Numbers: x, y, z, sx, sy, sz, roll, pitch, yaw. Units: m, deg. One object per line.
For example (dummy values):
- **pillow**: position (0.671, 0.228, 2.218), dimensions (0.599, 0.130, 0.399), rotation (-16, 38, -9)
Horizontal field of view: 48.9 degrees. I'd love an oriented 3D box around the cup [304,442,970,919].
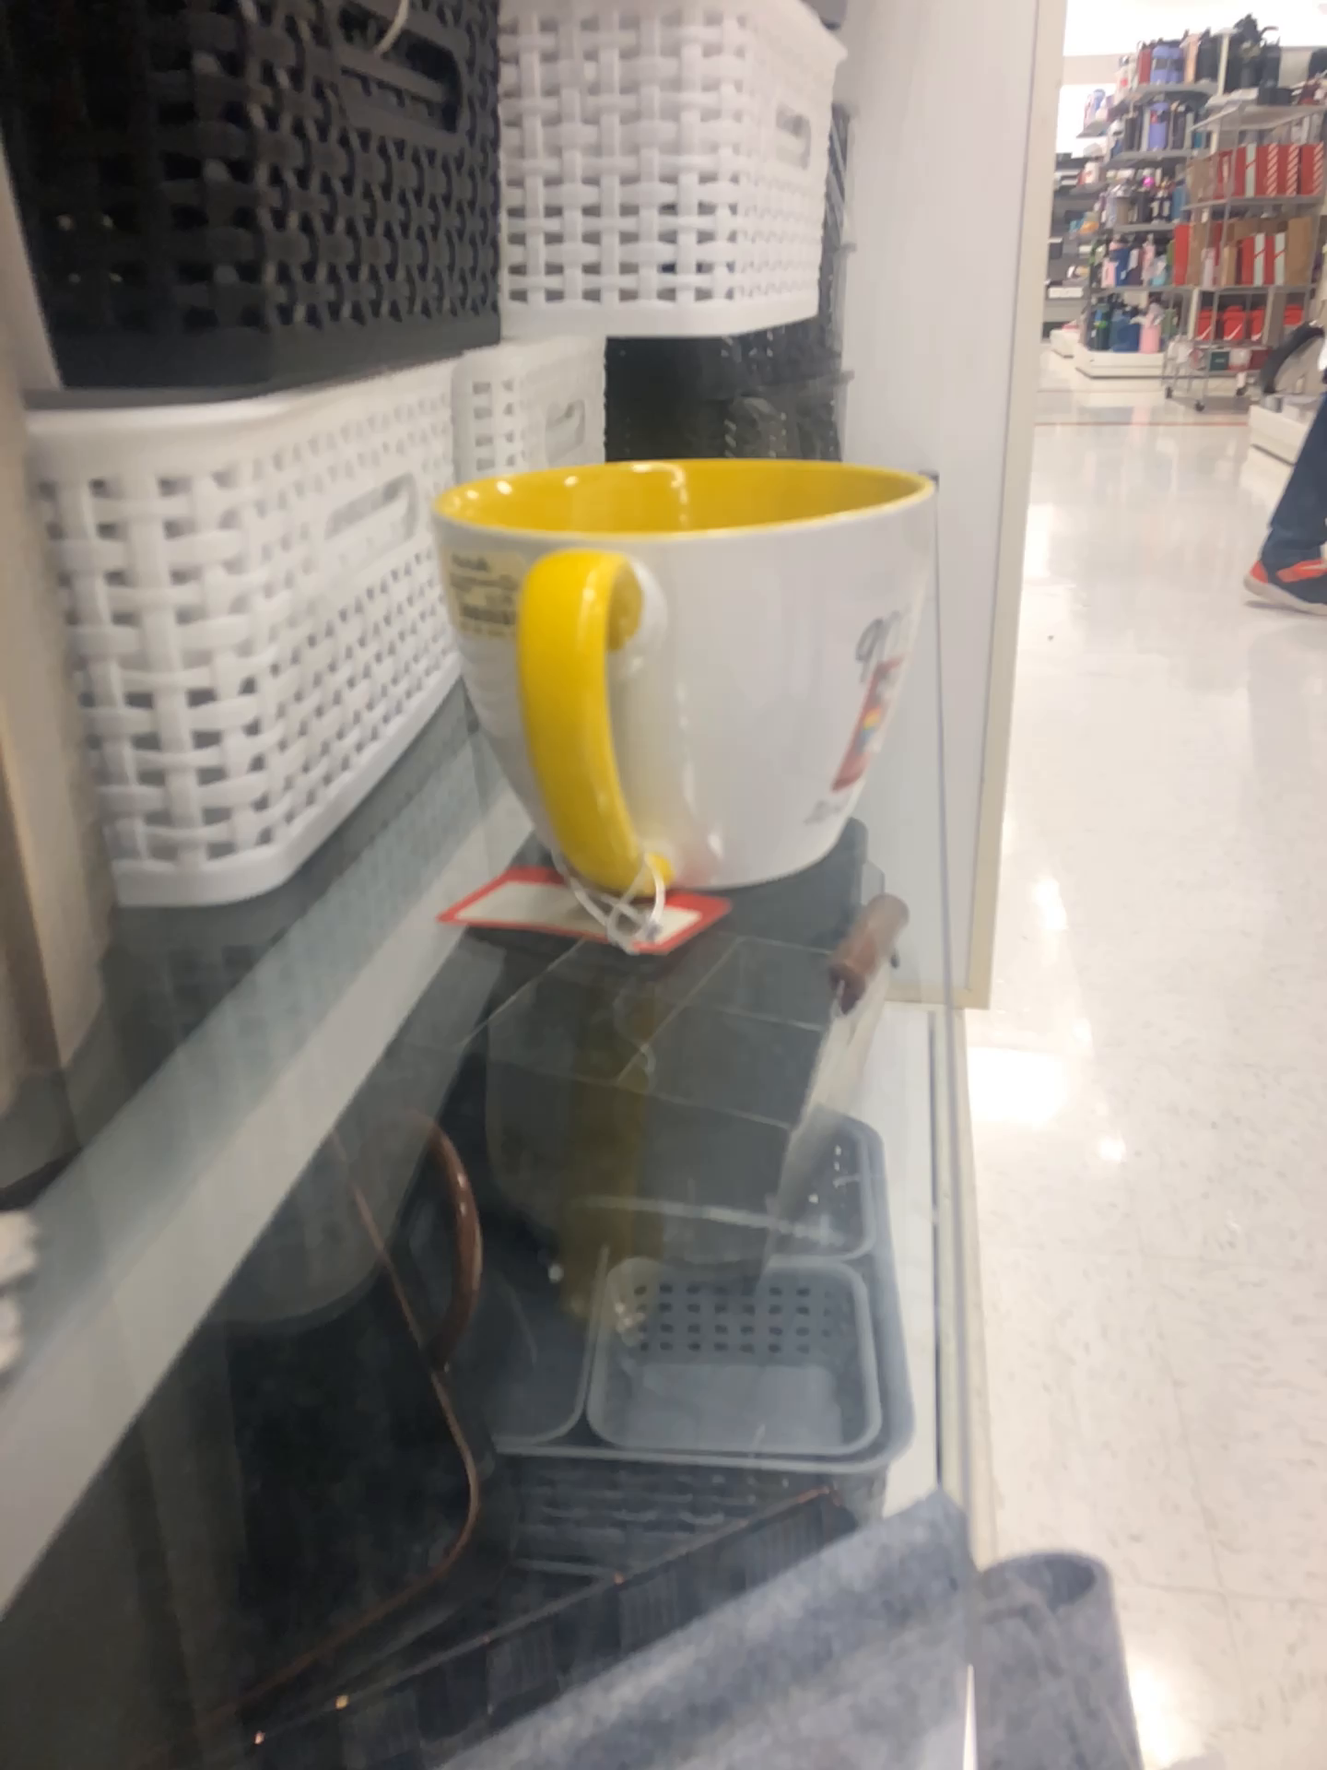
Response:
- **cup**: position (0.006, -0.061, 0.357), dimensions (0.126, 0.076, 0.157), rotation (4, 21, 9)
